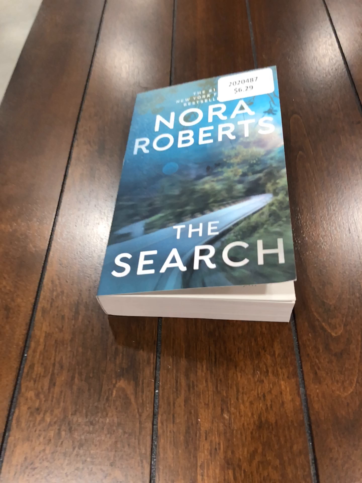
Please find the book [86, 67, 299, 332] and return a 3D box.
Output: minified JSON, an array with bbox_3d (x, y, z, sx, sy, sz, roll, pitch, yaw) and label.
[{"bbox_3d":[0.015,-0.032,0.269,0.108,0.050,0.170,-5,56,15],"label":"book"}]
